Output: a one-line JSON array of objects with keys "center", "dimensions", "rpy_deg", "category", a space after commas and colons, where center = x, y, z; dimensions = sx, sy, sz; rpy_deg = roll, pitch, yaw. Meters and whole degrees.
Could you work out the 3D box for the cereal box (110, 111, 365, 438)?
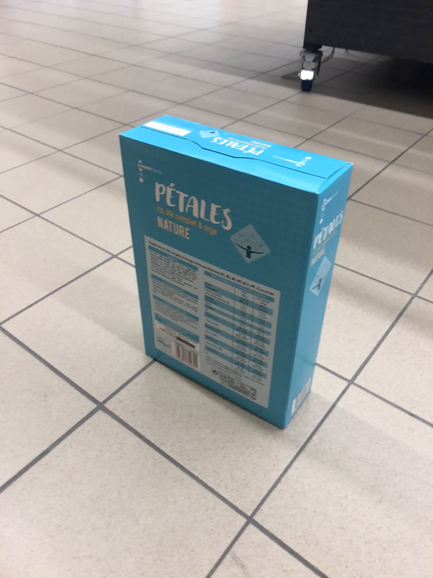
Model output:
[{"center": [0.010, -0.010, 0.466], "dimensions": [0.200, 0.268, 0.070], "rpy_deg": [23, 43, 27], "category": "cereal box"}]
